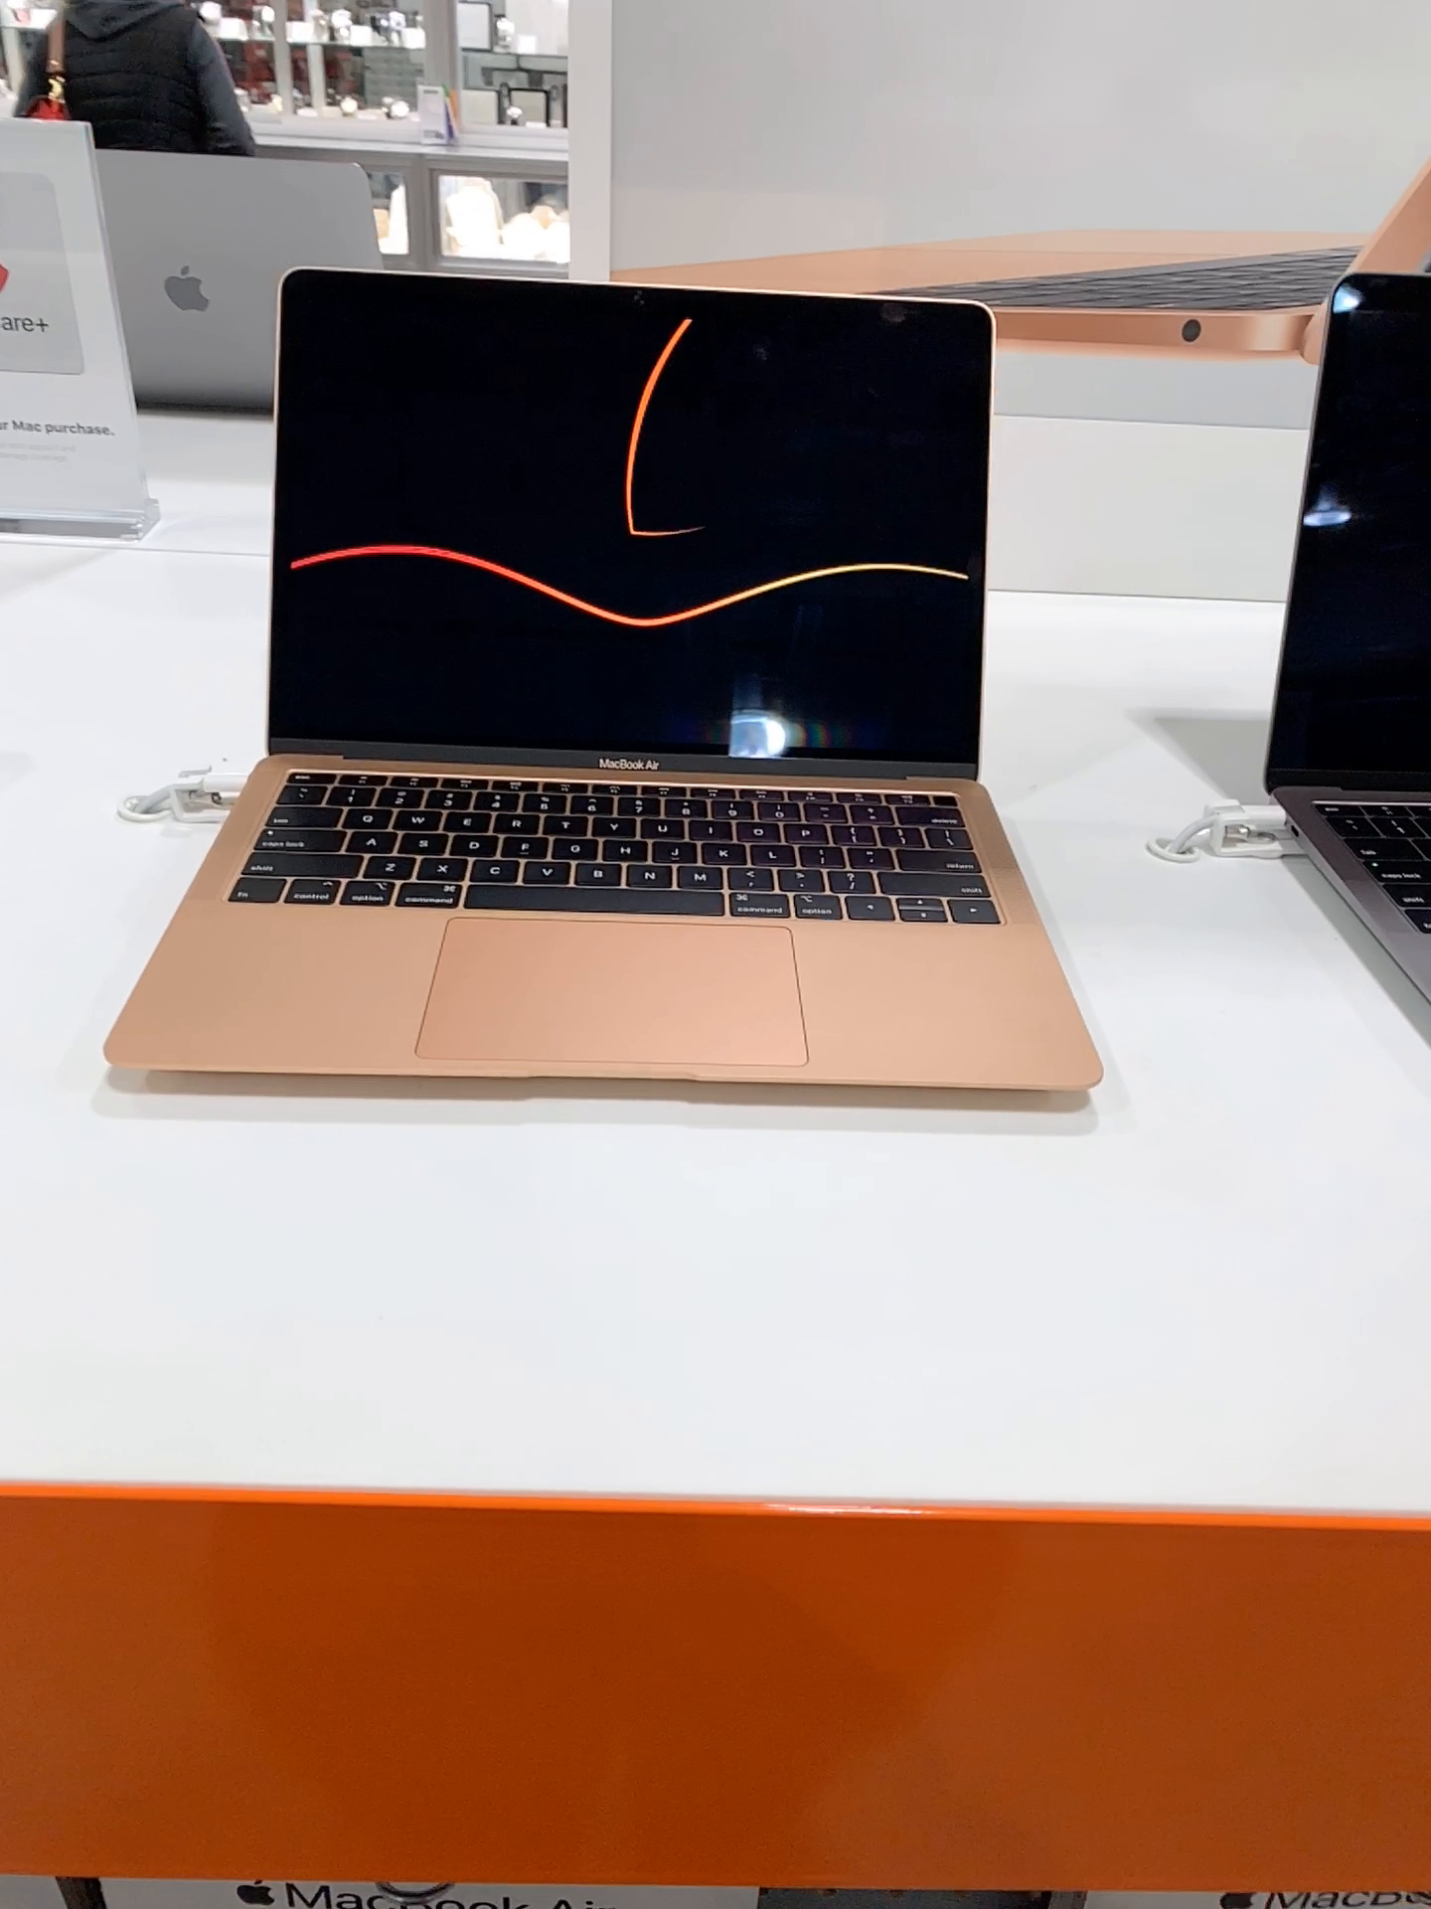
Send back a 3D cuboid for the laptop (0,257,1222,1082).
[{"bbox_3d":[-0.032,-0.123,0.522,0.293,0.170,0.311,1,33,-3],"label":"laptop"}]
